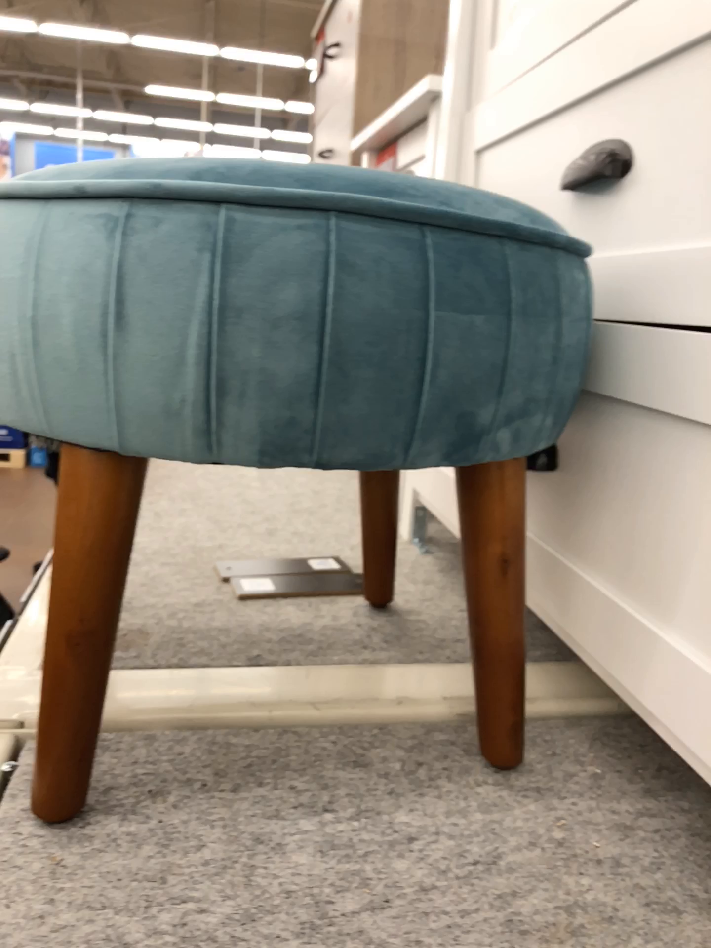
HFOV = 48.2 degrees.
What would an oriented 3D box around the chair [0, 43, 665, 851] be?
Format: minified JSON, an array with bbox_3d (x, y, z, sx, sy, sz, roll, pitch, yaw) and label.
[{"bbox_3d":[-0.067,-0.025,0.596,0.370,0.399,0.371,3,12,-10],"label":"chair"}]
